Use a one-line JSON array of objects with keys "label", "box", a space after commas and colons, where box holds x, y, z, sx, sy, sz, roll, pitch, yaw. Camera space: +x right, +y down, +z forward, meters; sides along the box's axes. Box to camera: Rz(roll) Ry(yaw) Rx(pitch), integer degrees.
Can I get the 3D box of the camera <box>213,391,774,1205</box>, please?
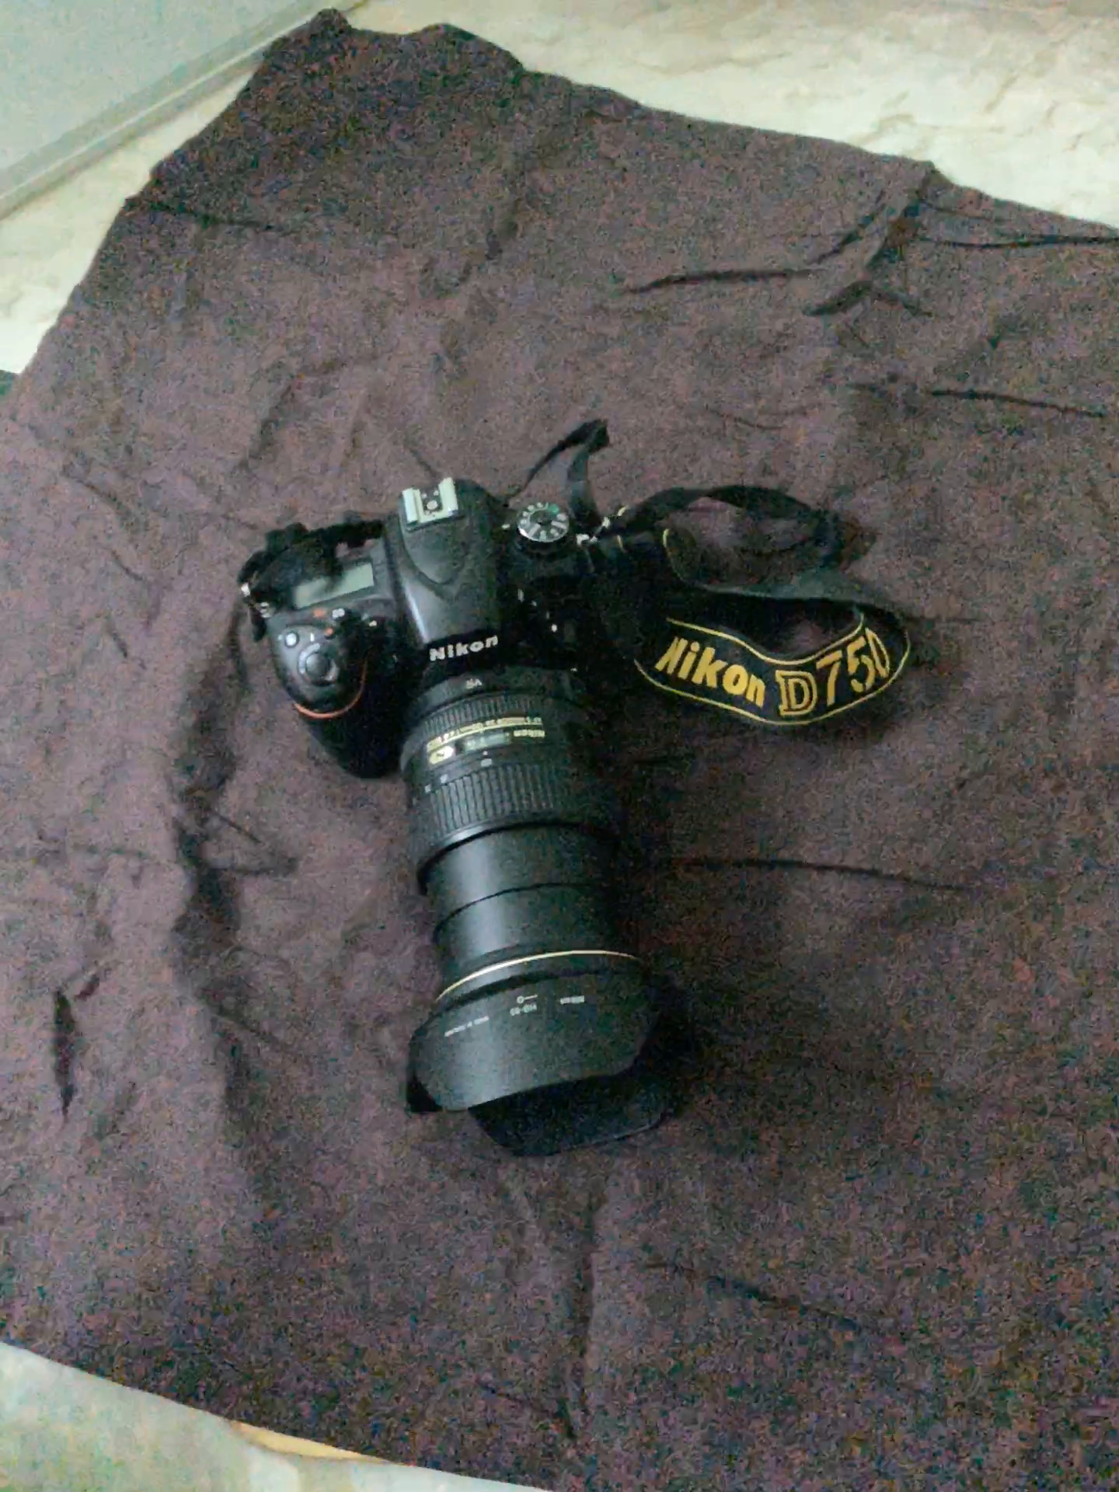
[{"label": "camera", "box": [-0.033, 0.015, 0.458, 0.161, 0.100, 0.279, -13, 63, 2]}]
